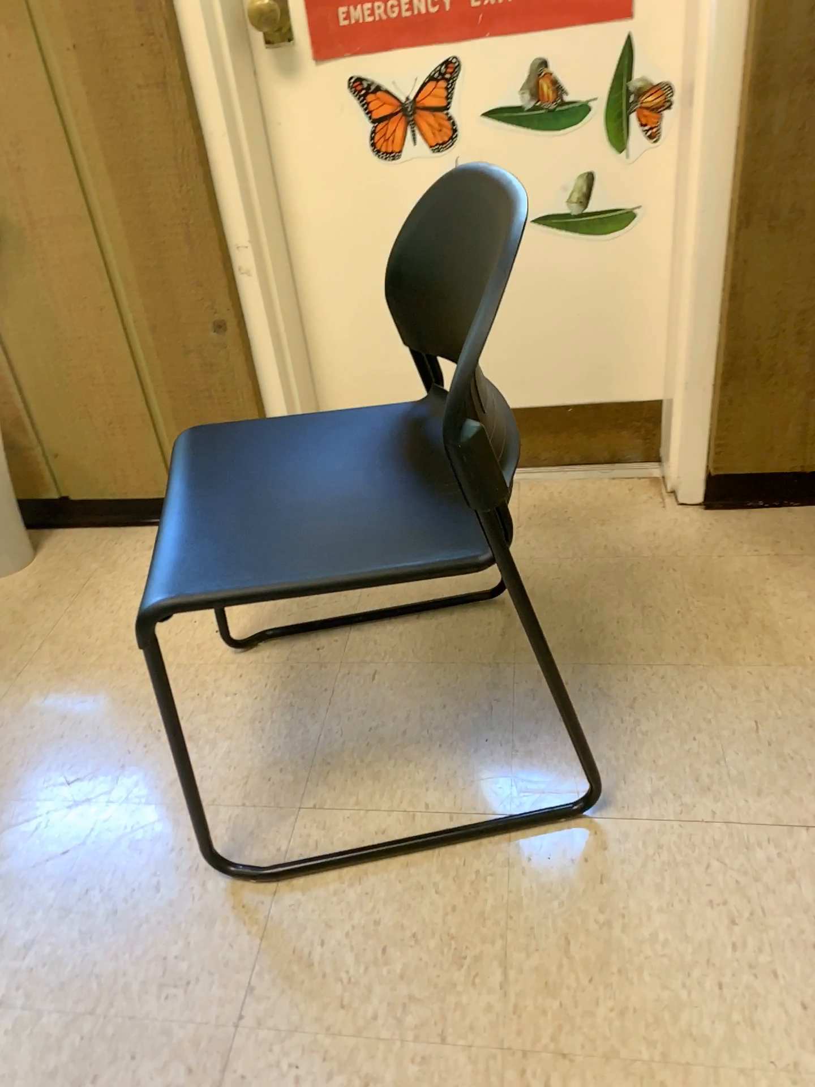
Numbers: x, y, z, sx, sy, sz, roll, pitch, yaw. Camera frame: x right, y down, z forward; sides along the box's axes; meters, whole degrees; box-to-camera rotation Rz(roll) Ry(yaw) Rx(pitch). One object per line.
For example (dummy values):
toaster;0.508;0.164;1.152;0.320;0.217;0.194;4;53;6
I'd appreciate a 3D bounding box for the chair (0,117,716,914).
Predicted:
chair;-0.049;-0.063;1.126;0.620;0.795;0.584;-10;33;-4
